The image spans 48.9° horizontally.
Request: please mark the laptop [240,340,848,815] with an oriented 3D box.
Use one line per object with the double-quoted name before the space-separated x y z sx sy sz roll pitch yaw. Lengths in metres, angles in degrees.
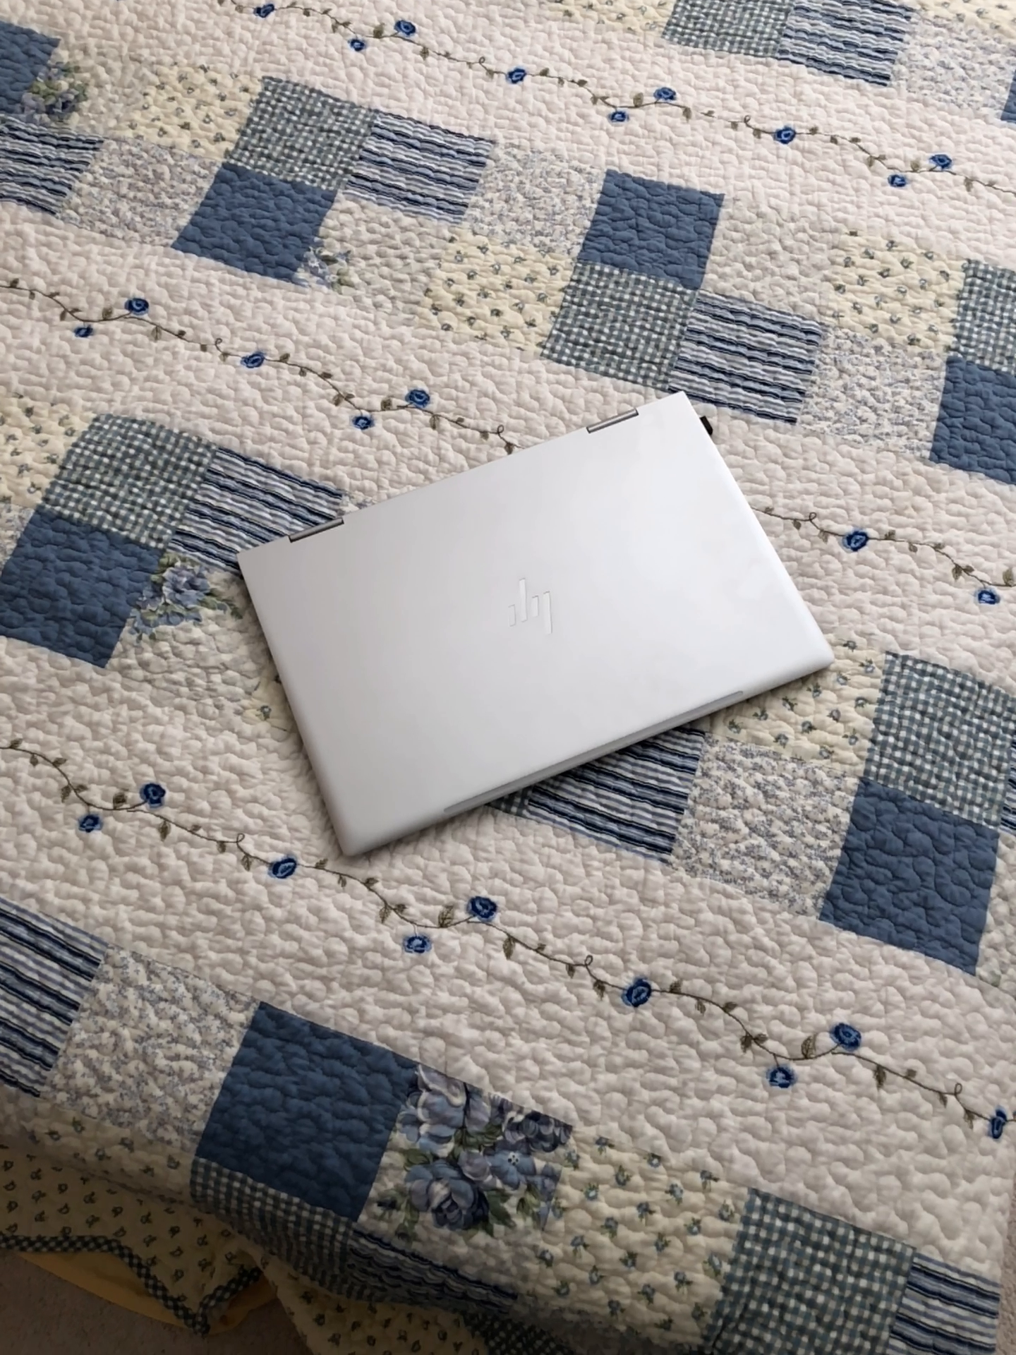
"laptop" 0.020 -0.085 0.848 0.386 0.011 0.256 -22 72 -4
